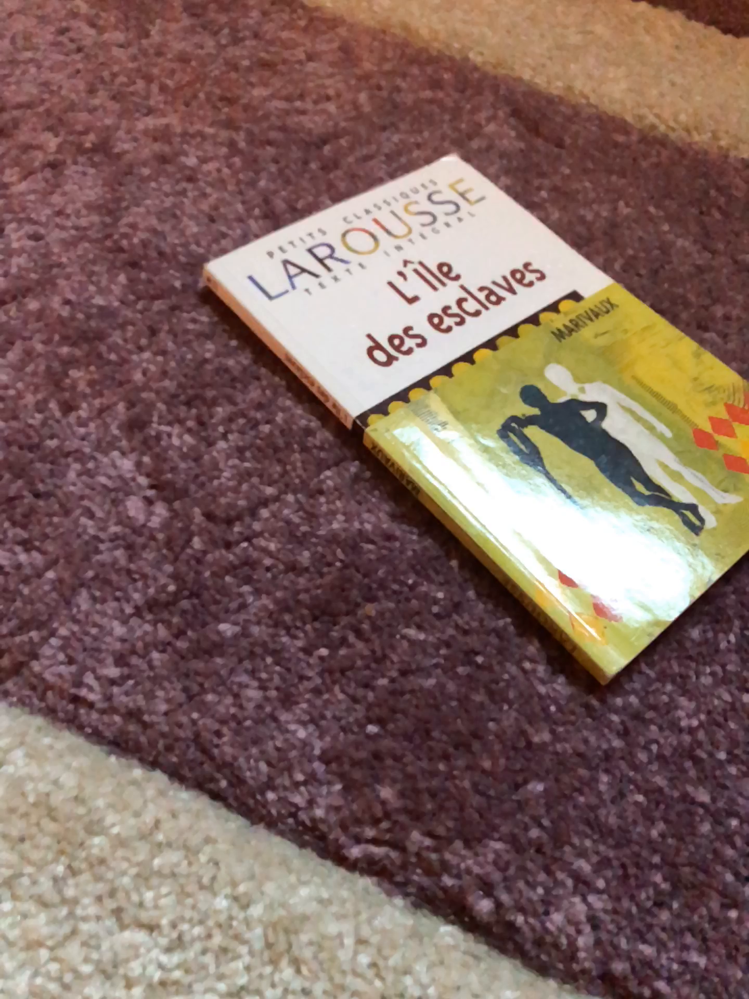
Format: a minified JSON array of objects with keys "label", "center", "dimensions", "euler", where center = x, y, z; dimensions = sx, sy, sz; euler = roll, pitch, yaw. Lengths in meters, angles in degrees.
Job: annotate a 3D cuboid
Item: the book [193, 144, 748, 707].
[{"label":"book","center":[0.040,-0.038,0.249],"dimensions":[0.110,0.020,0.166],"euler":[-33,66,-27]}]
